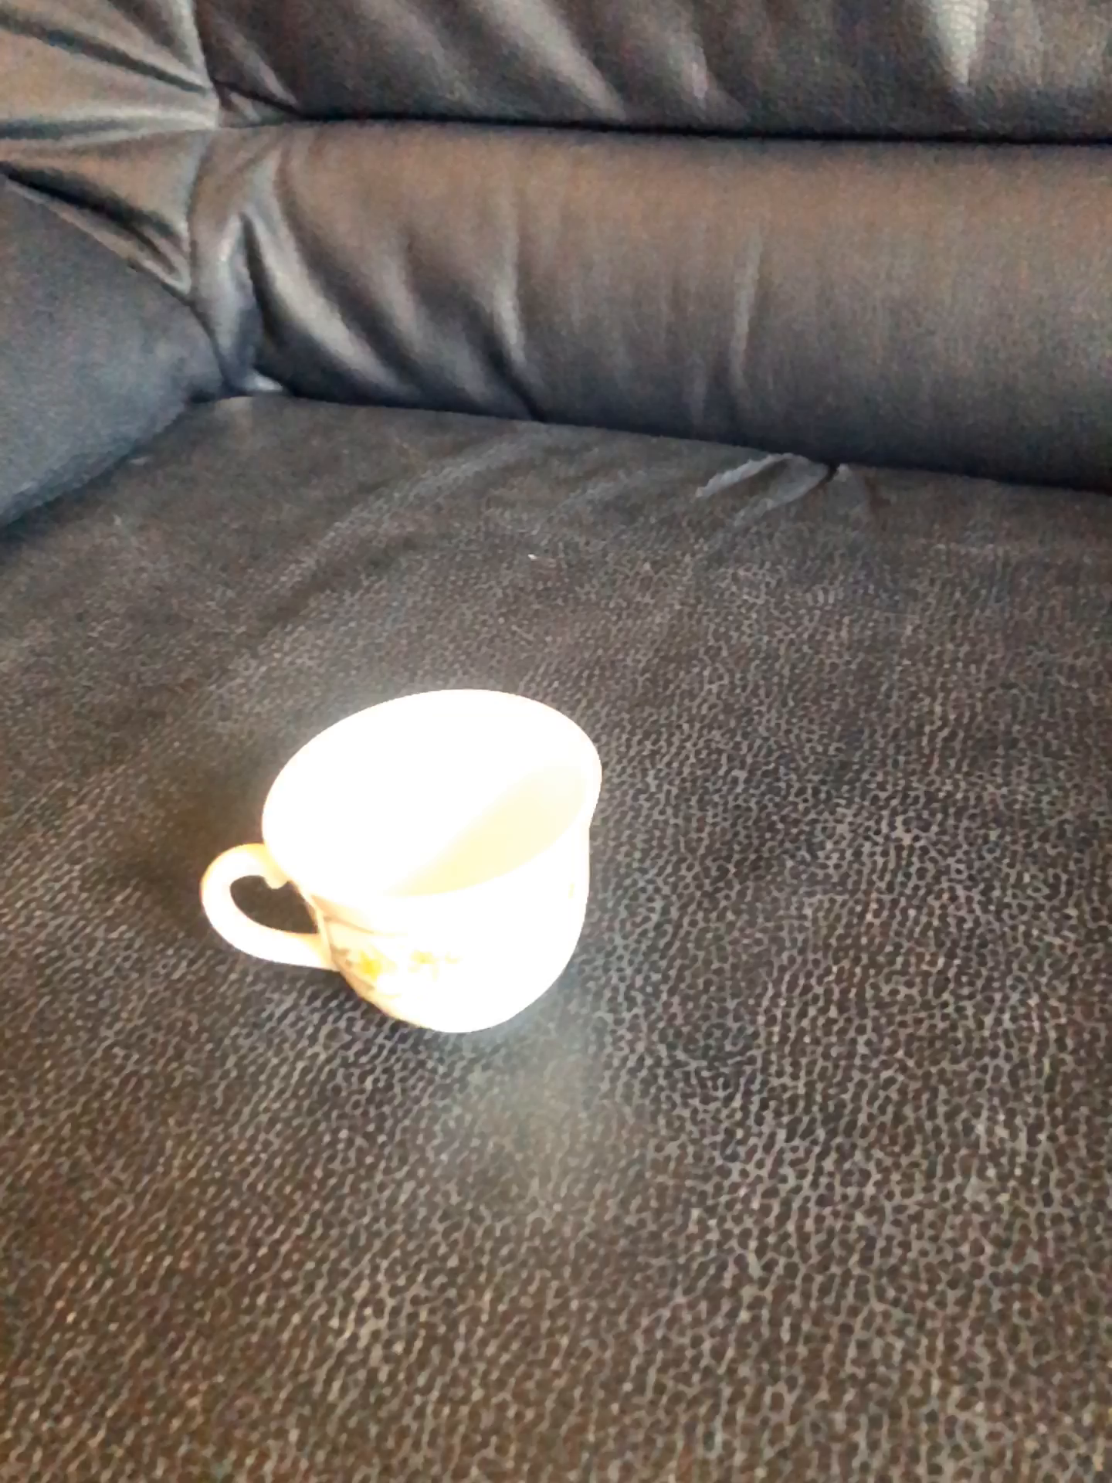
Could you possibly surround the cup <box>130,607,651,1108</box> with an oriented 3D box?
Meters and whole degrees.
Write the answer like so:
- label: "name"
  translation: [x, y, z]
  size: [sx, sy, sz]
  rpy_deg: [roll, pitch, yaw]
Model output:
- label: "cup"
  translation: [-0.031, 0.020, 0.241]
  size: [0.083, 0.050, 0.069]
  rpy_deg: [-10, 39, -6]
